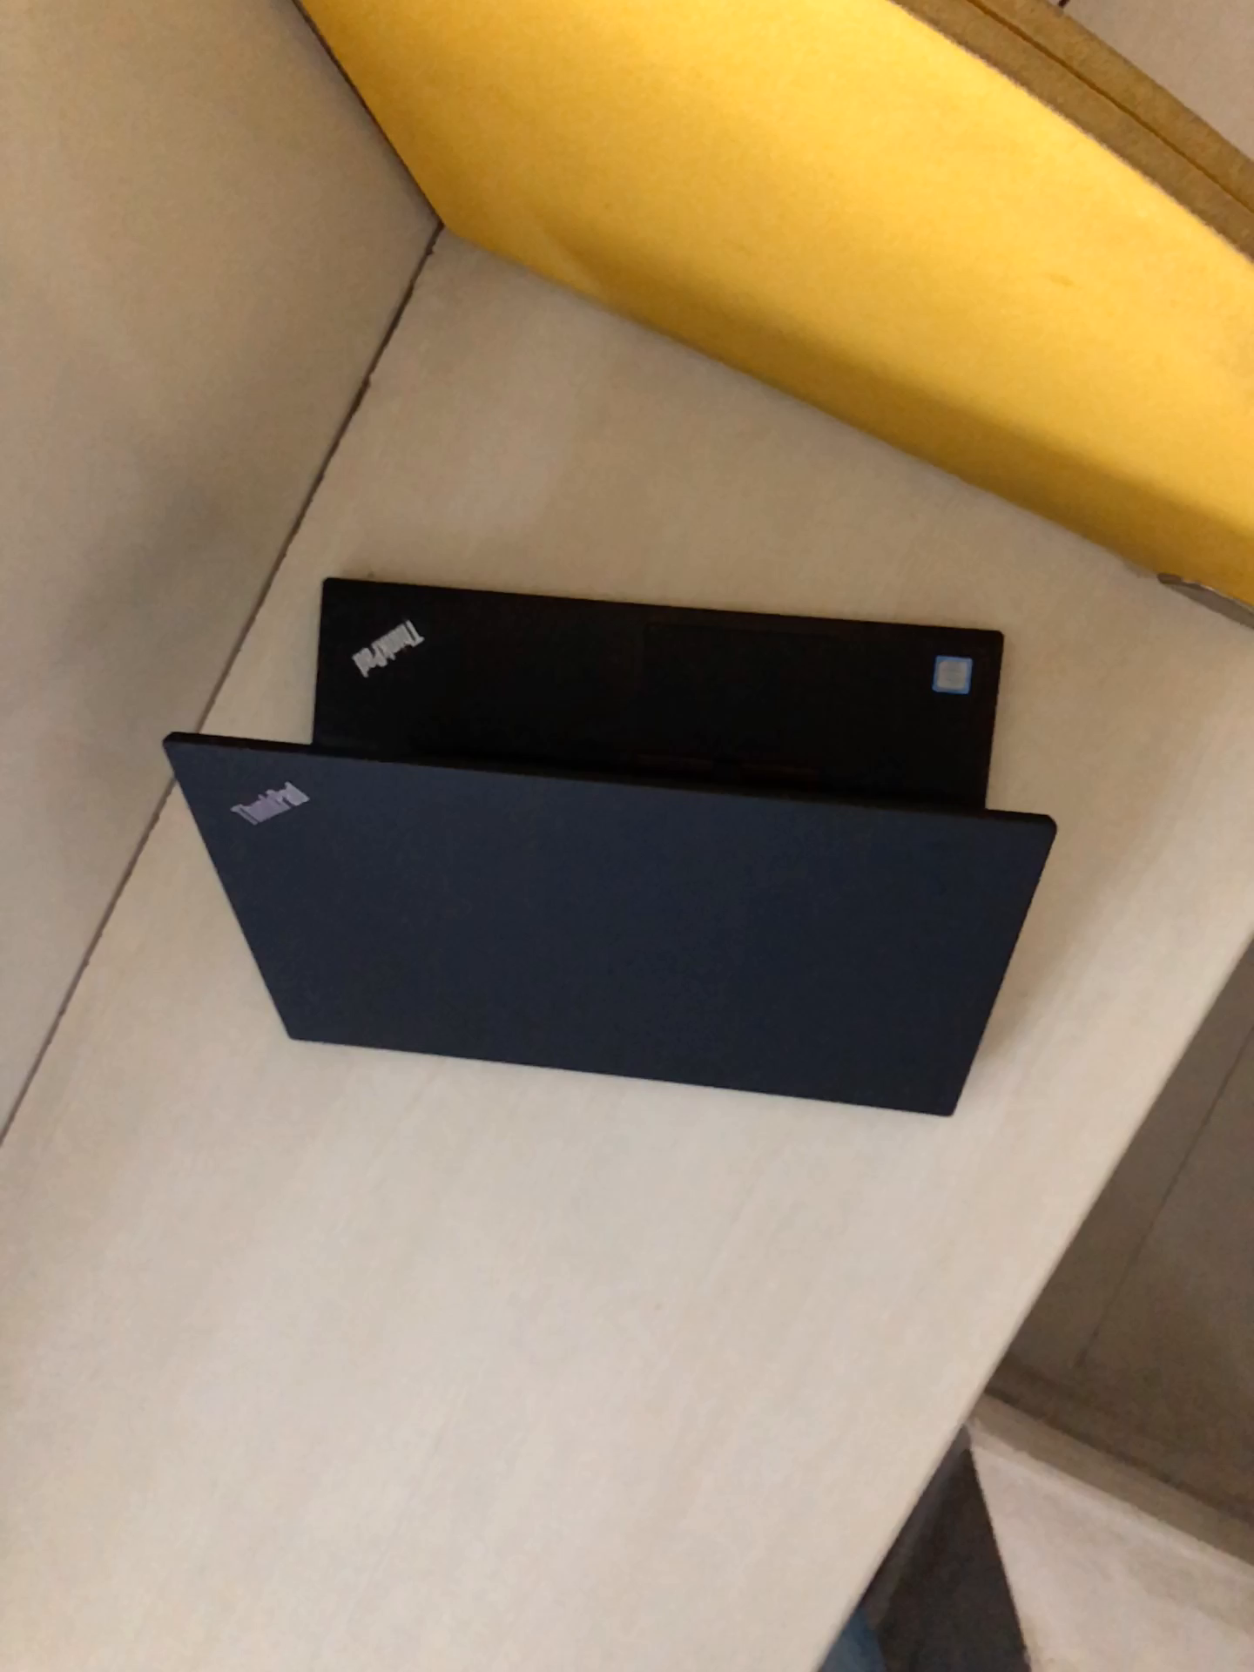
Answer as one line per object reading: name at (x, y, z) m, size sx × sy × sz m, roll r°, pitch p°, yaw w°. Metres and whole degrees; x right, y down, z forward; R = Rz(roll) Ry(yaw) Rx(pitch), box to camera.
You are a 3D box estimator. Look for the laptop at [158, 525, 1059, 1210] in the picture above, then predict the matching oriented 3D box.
laptop at (-0.004, 0.001, 0.640) m, size 0.349 × 0.167 × 0.240 m, roll 5°, pitch 91°, yaw 7°
